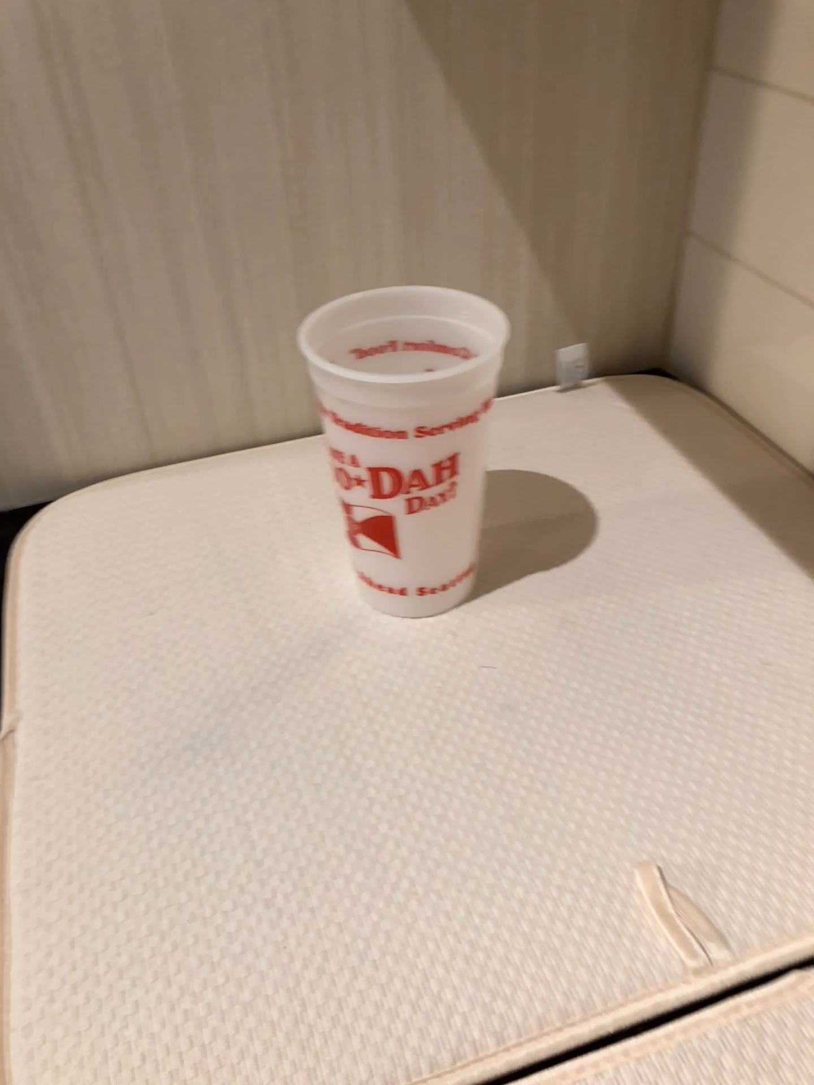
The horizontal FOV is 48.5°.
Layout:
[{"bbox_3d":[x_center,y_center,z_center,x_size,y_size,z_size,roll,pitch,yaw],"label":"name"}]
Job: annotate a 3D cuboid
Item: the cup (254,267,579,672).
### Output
[{"bbox_3d":[0.007,-0.038,0.435,0.100,0.139,0.100,-2,38,2],"label":"cup"}]
